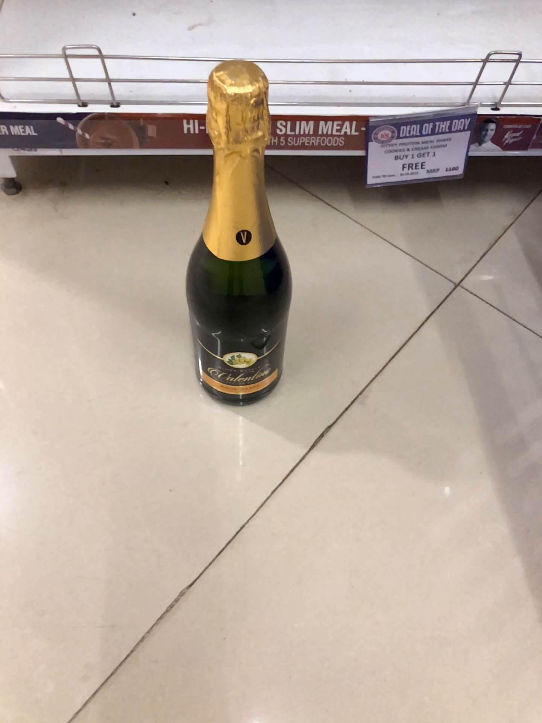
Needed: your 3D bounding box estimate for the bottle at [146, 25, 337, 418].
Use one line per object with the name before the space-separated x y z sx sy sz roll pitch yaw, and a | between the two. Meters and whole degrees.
bottle | -0.026 -0.069 0.434 0.090 0.298 0.090 2 59 -3
